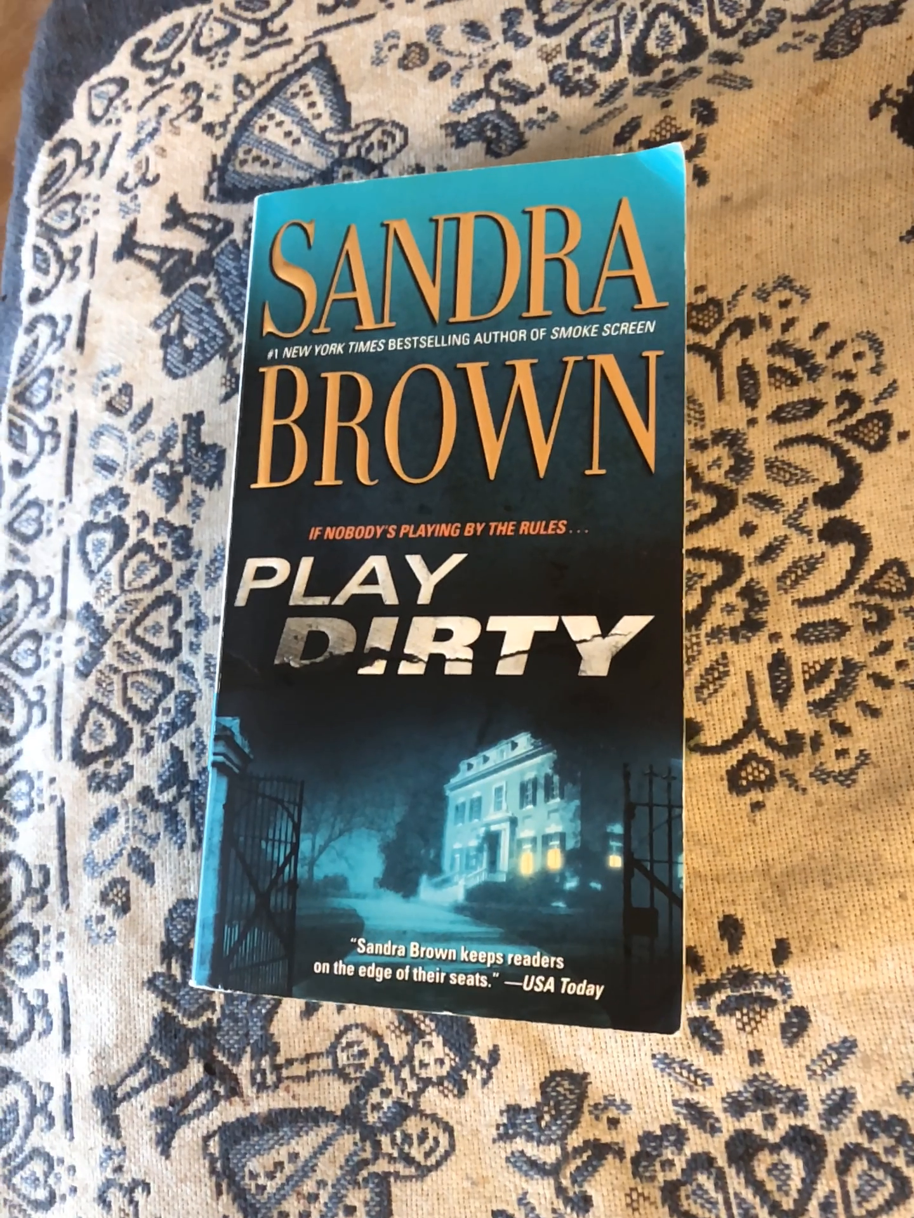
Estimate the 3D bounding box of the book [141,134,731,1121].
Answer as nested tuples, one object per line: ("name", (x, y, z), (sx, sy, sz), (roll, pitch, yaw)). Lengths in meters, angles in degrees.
("book", (-0.001, 0.000, 0.216), (0.110, 0.040, 0.180), (-1, 80, 15))
